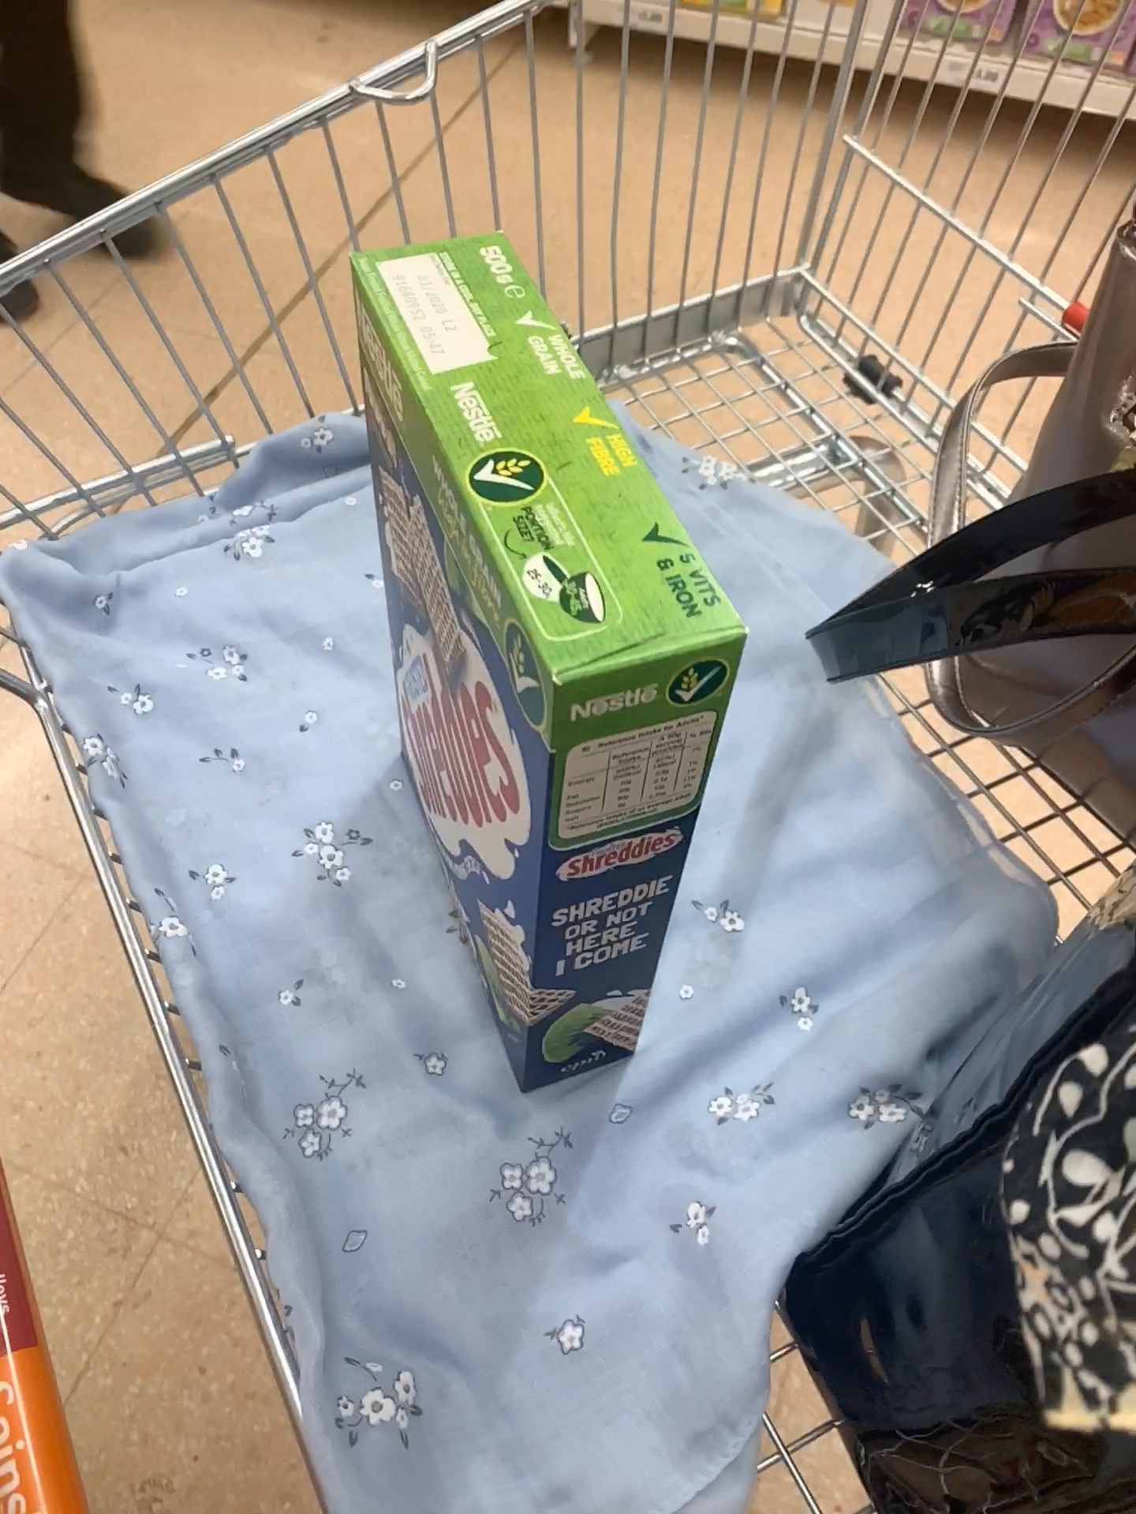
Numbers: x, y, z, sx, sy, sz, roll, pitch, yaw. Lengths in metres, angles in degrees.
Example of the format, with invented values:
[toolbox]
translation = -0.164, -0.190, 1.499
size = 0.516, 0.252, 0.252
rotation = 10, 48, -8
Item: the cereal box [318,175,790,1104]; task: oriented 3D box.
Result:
[cereal box]
translation = -0.018, -0.020, 0.436
size = 0.060, 0.288, 0.202
rotation = -17, 58, -13
